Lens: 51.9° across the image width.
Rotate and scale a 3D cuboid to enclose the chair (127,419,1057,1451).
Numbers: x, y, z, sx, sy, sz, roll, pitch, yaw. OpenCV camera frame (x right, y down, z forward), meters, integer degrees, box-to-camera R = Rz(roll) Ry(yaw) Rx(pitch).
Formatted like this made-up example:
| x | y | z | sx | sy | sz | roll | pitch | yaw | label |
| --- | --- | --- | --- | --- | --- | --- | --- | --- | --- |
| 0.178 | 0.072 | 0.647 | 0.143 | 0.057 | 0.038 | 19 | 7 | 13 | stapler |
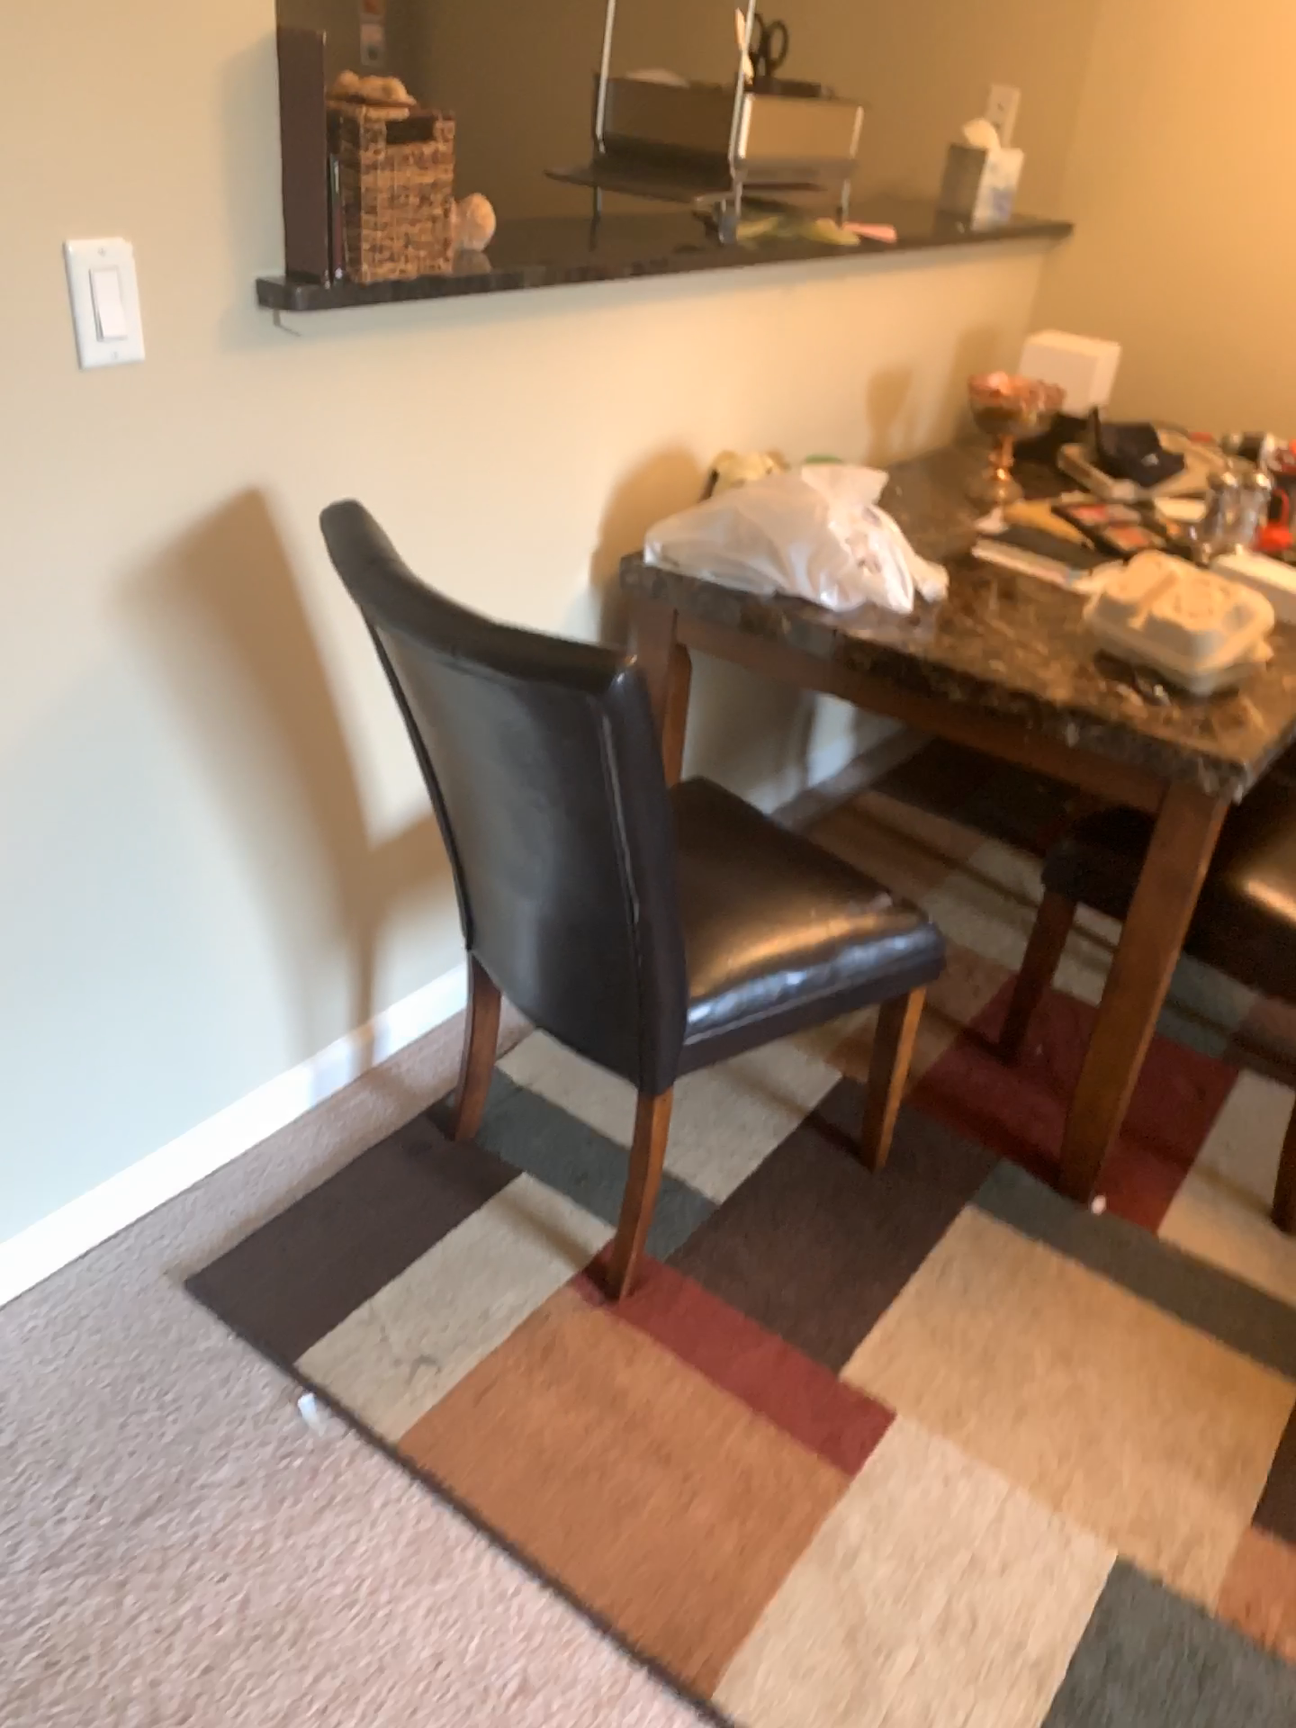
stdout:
| x | y | z | sx | sy | sz | roll | pitch | yaw | label |
| --- | --- | --- | --- | --- | --- | --- | --- | --- | --- |
| -0.106 | 0.007 | 1.791 | 0.813 | 0.925 | 0.732 | 31 | 39 | 34 | chair |
